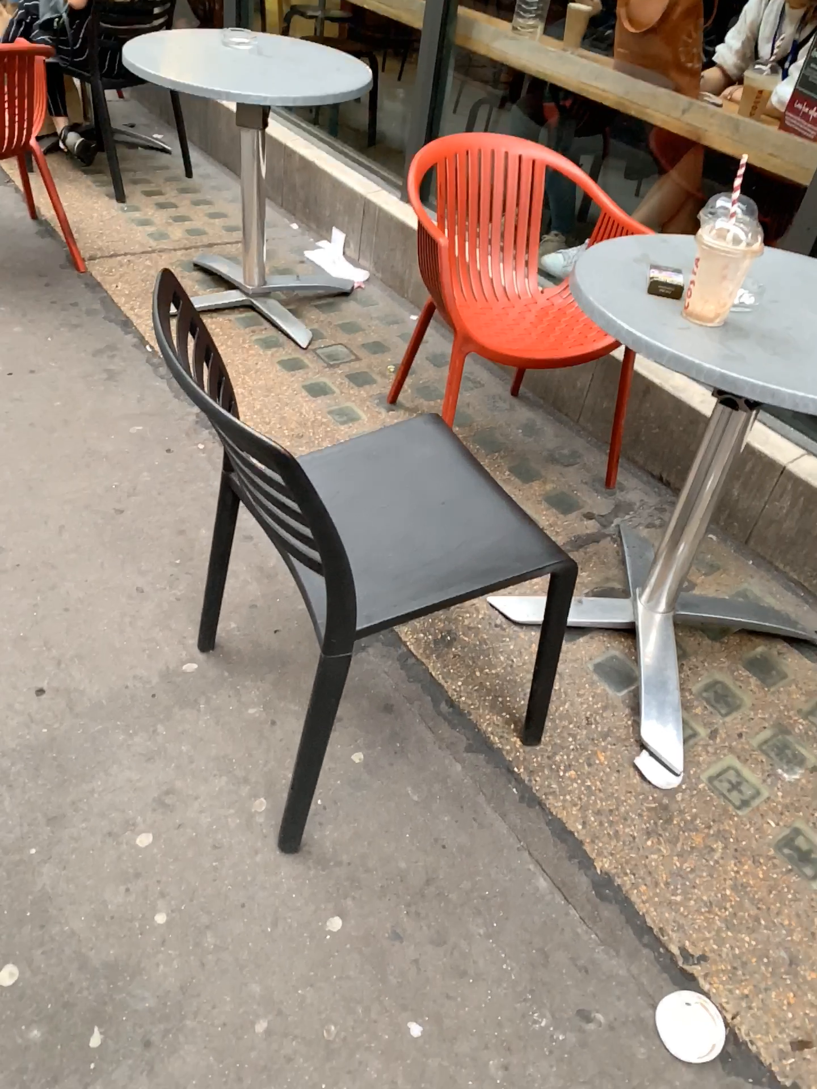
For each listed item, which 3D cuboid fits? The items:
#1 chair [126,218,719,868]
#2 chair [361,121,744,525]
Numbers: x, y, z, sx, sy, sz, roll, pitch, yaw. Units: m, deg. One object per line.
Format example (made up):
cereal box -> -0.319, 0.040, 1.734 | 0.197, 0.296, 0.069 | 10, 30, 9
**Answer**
chair -> -0.047, -0.032, 1.333 | 0.601, 0.752, 0.554 | -14, 45, -27
chair -> 0.286, -0.572, 2.113 | 0.571, 0.743, 0.646 | -7, 42, -21
